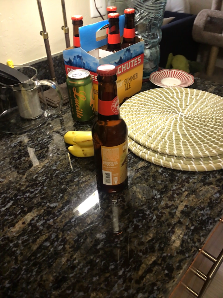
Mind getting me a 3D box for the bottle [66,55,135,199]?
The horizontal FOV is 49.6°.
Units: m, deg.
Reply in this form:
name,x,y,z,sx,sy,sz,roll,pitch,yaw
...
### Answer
name,x,y,z,sx,sy,sz,roll,pitch,yaw
bottle,-0.011,-0.024,0.357,0.060,0.199,0.060,-1,39,1
